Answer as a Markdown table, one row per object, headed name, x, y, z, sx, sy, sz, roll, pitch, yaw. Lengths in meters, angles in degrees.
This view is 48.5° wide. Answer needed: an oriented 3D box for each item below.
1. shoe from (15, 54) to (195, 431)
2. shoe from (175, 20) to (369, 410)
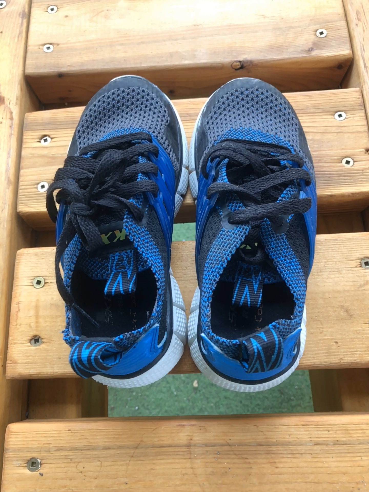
| name | x | y | z | sx | sy | sz | roll | pitch | yaw |
| --- | --- | --- | --- | --- | --- | --- | --- | --- | --- |
| shoe | -0.040 | -0.001 | 0.262 | 0.080 | 0.100 | 0.200 | -3 | 74 | 2 |
| shoe | 0.040 | -0.013 | 0.238 | 0.080 | 0.100 | 0.190 | 0 | 74 | 3 |
